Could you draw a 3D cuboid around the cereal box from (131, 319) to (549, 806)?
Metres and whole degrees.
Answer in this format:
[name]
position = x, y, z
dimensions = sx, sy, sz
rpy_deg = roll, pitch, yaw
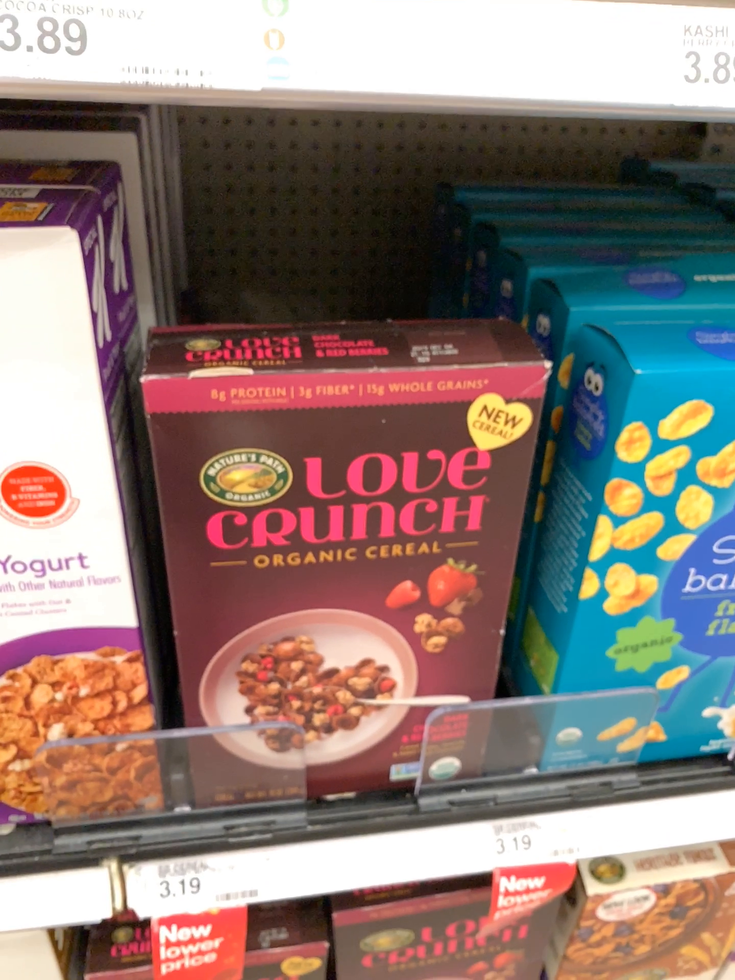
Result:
[cereal box]
position = -0.016, 0.046, 0.380
dimensions = 0.160, 0.249, 0.050
rpy_deg = -4, 33, -10
